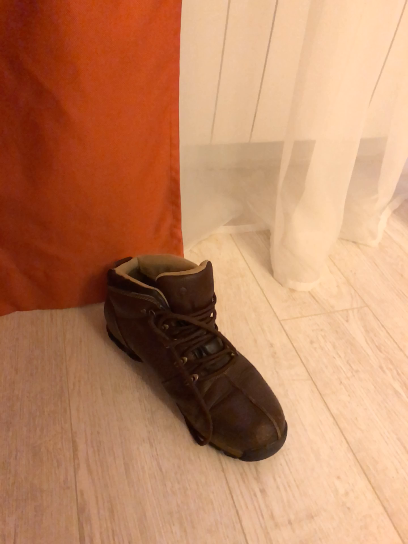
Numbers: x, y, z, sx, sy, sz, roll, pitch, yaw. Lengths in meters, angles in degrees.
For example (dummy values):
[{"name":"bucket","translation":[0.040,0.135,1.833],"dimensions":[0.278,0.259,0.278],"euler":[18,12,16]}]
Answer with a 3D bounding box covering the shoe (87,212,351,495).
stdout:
[{"name":"shoe","translation":[-0.004,0.079,0.540],"dimensions":[0.110,0.159,0.301],"euler":[-28,50,-35]}]
